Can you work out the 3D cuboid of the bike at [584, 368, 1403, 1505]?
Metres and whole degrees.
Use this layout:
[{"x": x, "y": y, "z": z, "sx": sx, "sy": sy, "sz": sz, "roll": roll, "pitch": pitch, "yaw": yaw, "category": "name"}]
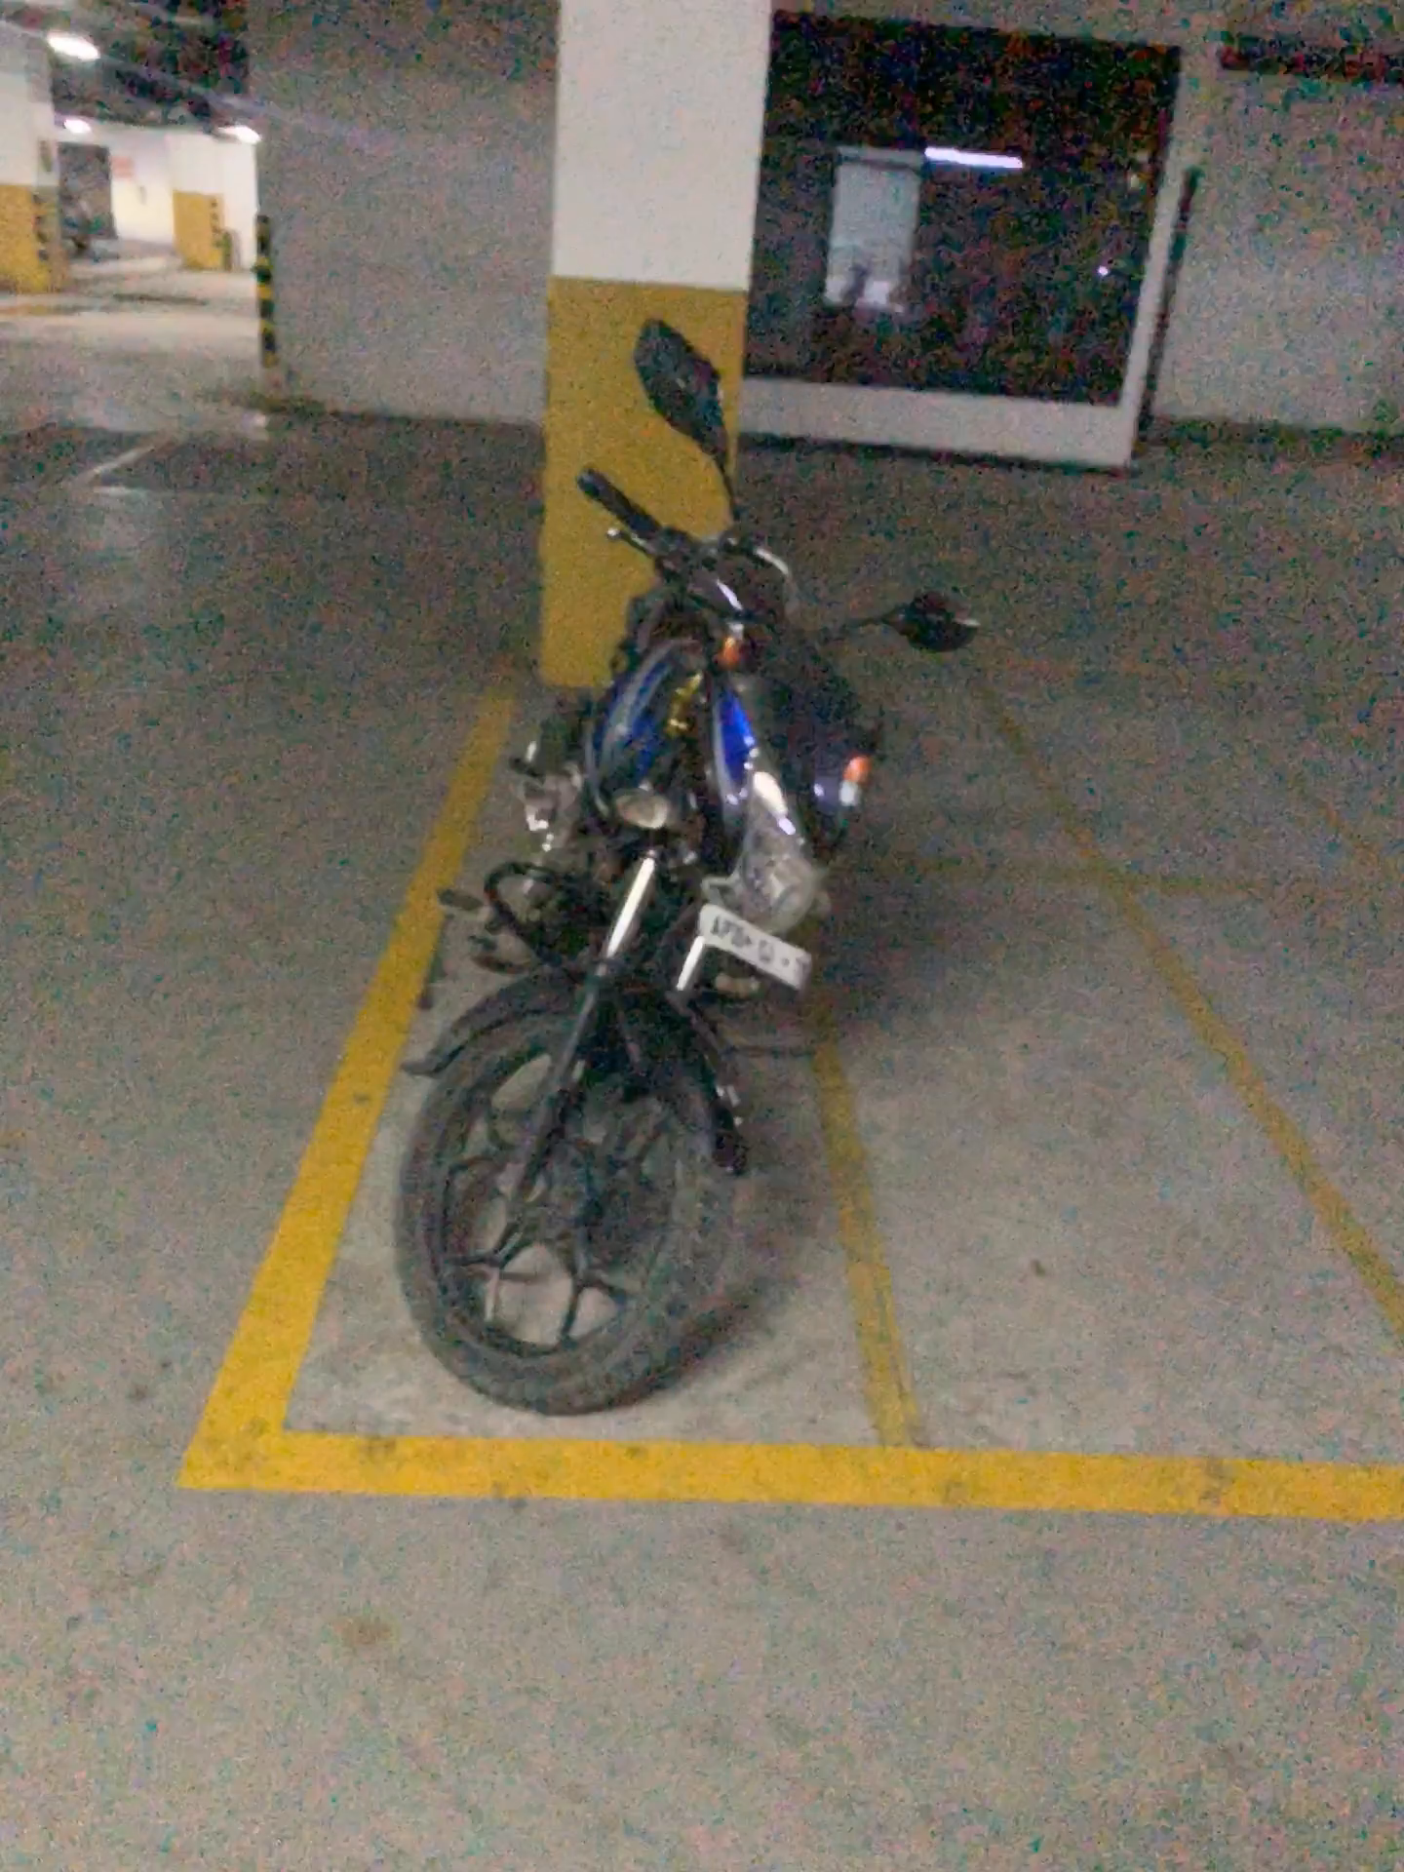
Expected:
[{"x": 0.255, "y": -0.283, "z": 2.679, "sx": 0.850, "sy": 1.206, "sz": 2.221, "roll": 2, "pitch": 25, "yaw": -6, "category": "bike"}]
